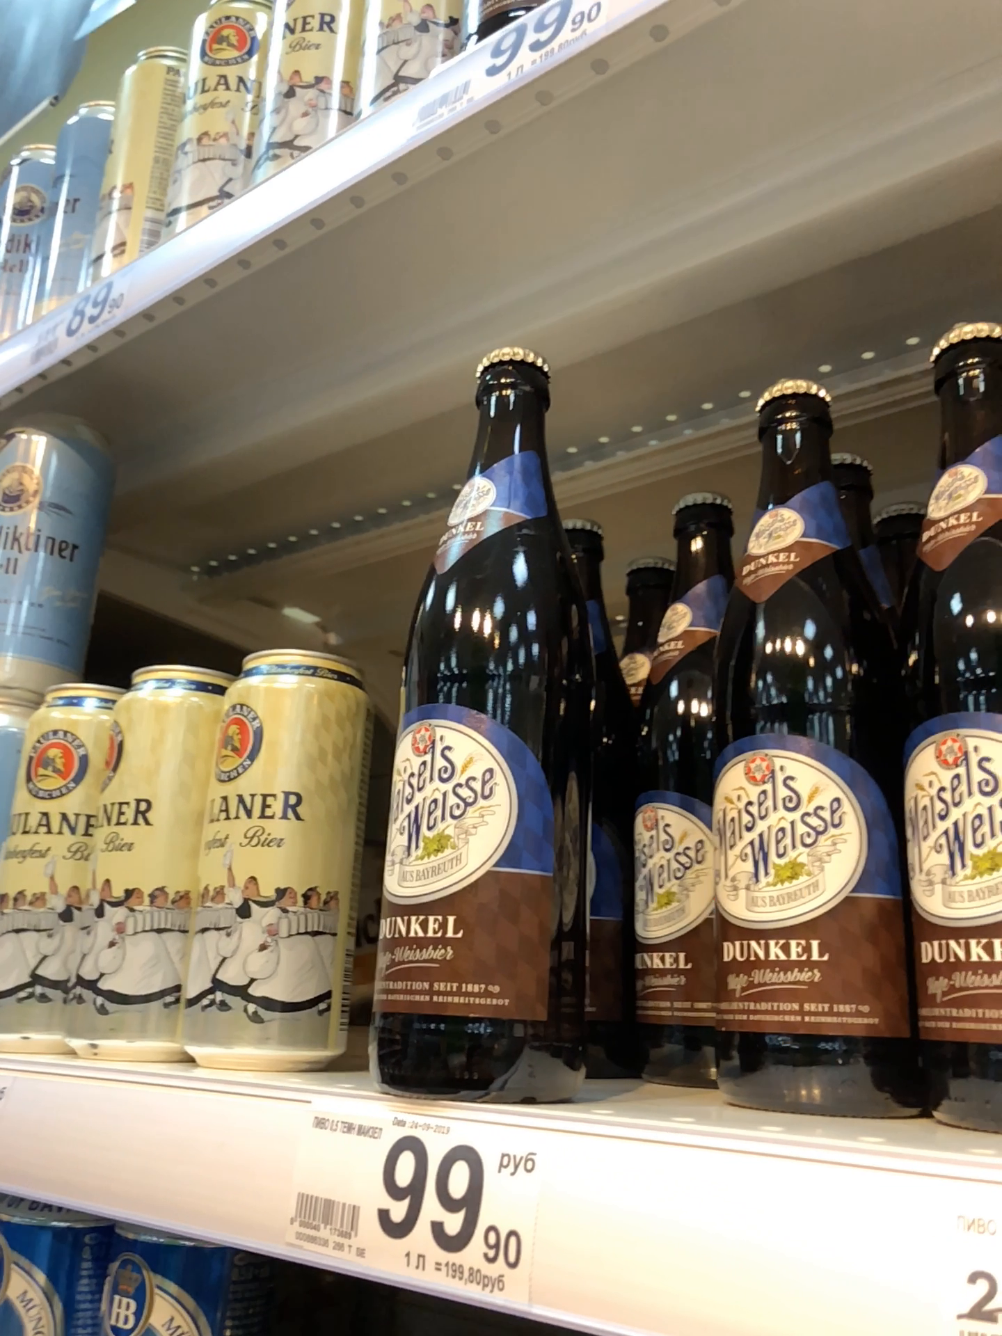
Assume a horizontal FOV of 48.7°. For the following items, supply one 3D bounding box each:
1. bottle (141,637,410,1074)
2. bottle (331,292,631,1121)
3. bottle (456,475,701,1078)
[{"bbox_3d":[-0.093,0.081,0.474,0.069,0.168,0.067,2,-17,1],"label":"bottle"},{"bbox_3d":[-0.002,0.010,0.384,0.066,0.264,0.065,2,-17,1],"label":"bottle"},{"bbox_3d":[0.039,0.051,0.527,0.082,0.263,0.070,16,-22,-37],"label":"bottle"}]
